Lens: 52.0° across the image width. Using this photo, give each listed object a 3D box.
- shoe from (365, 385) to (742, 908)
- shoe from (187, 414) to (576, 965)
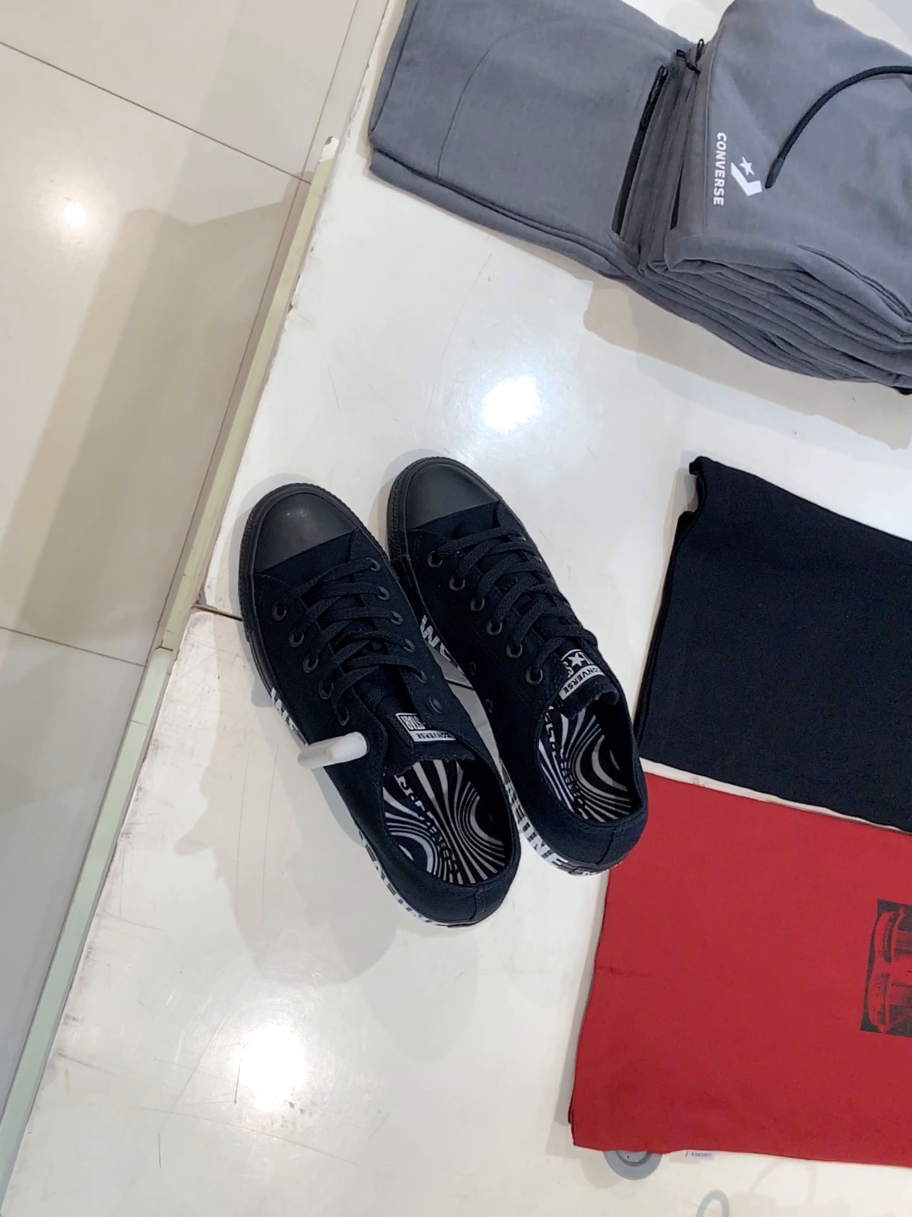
[{"bbox_3d":[0.042,0.018,0.568,0.090,0.100,0.290,-21,69,-15],"label":"shoe"},{"bbox_3d":[-0.052,0.039,0.519,0.100,0.100,0.270,-19,67,-19],"label":"shoe"}]
